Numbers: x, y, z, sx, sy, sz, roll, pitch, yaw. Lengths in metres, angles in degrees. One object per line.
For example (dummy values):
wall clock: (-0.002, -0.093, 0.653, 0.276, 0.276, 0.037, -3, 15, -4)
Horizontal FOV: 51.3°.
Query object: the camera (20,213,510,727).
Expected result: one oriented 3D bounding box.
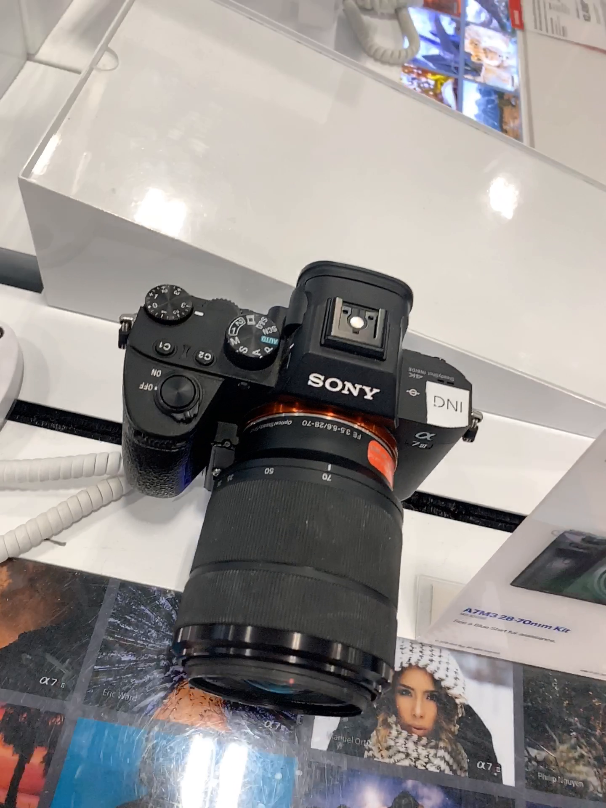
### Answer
camera: (-0.008, 0.030, 0.229, 0.119, 0.100, 0.140, 10, 59, -6)
